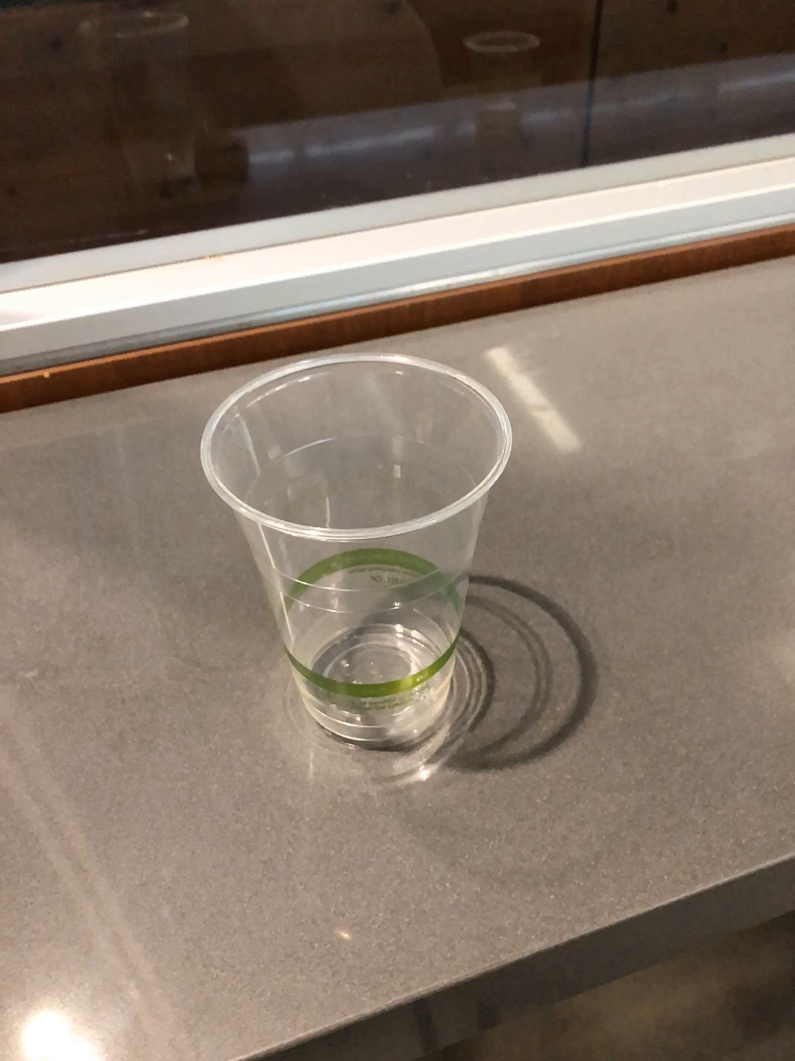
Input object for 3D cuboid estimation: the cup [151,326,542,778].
[{"bbox_3d":[-0.008,0.005,0.313,0.100,0.110,0.100,-2,40,2],"label":"cup"}]
